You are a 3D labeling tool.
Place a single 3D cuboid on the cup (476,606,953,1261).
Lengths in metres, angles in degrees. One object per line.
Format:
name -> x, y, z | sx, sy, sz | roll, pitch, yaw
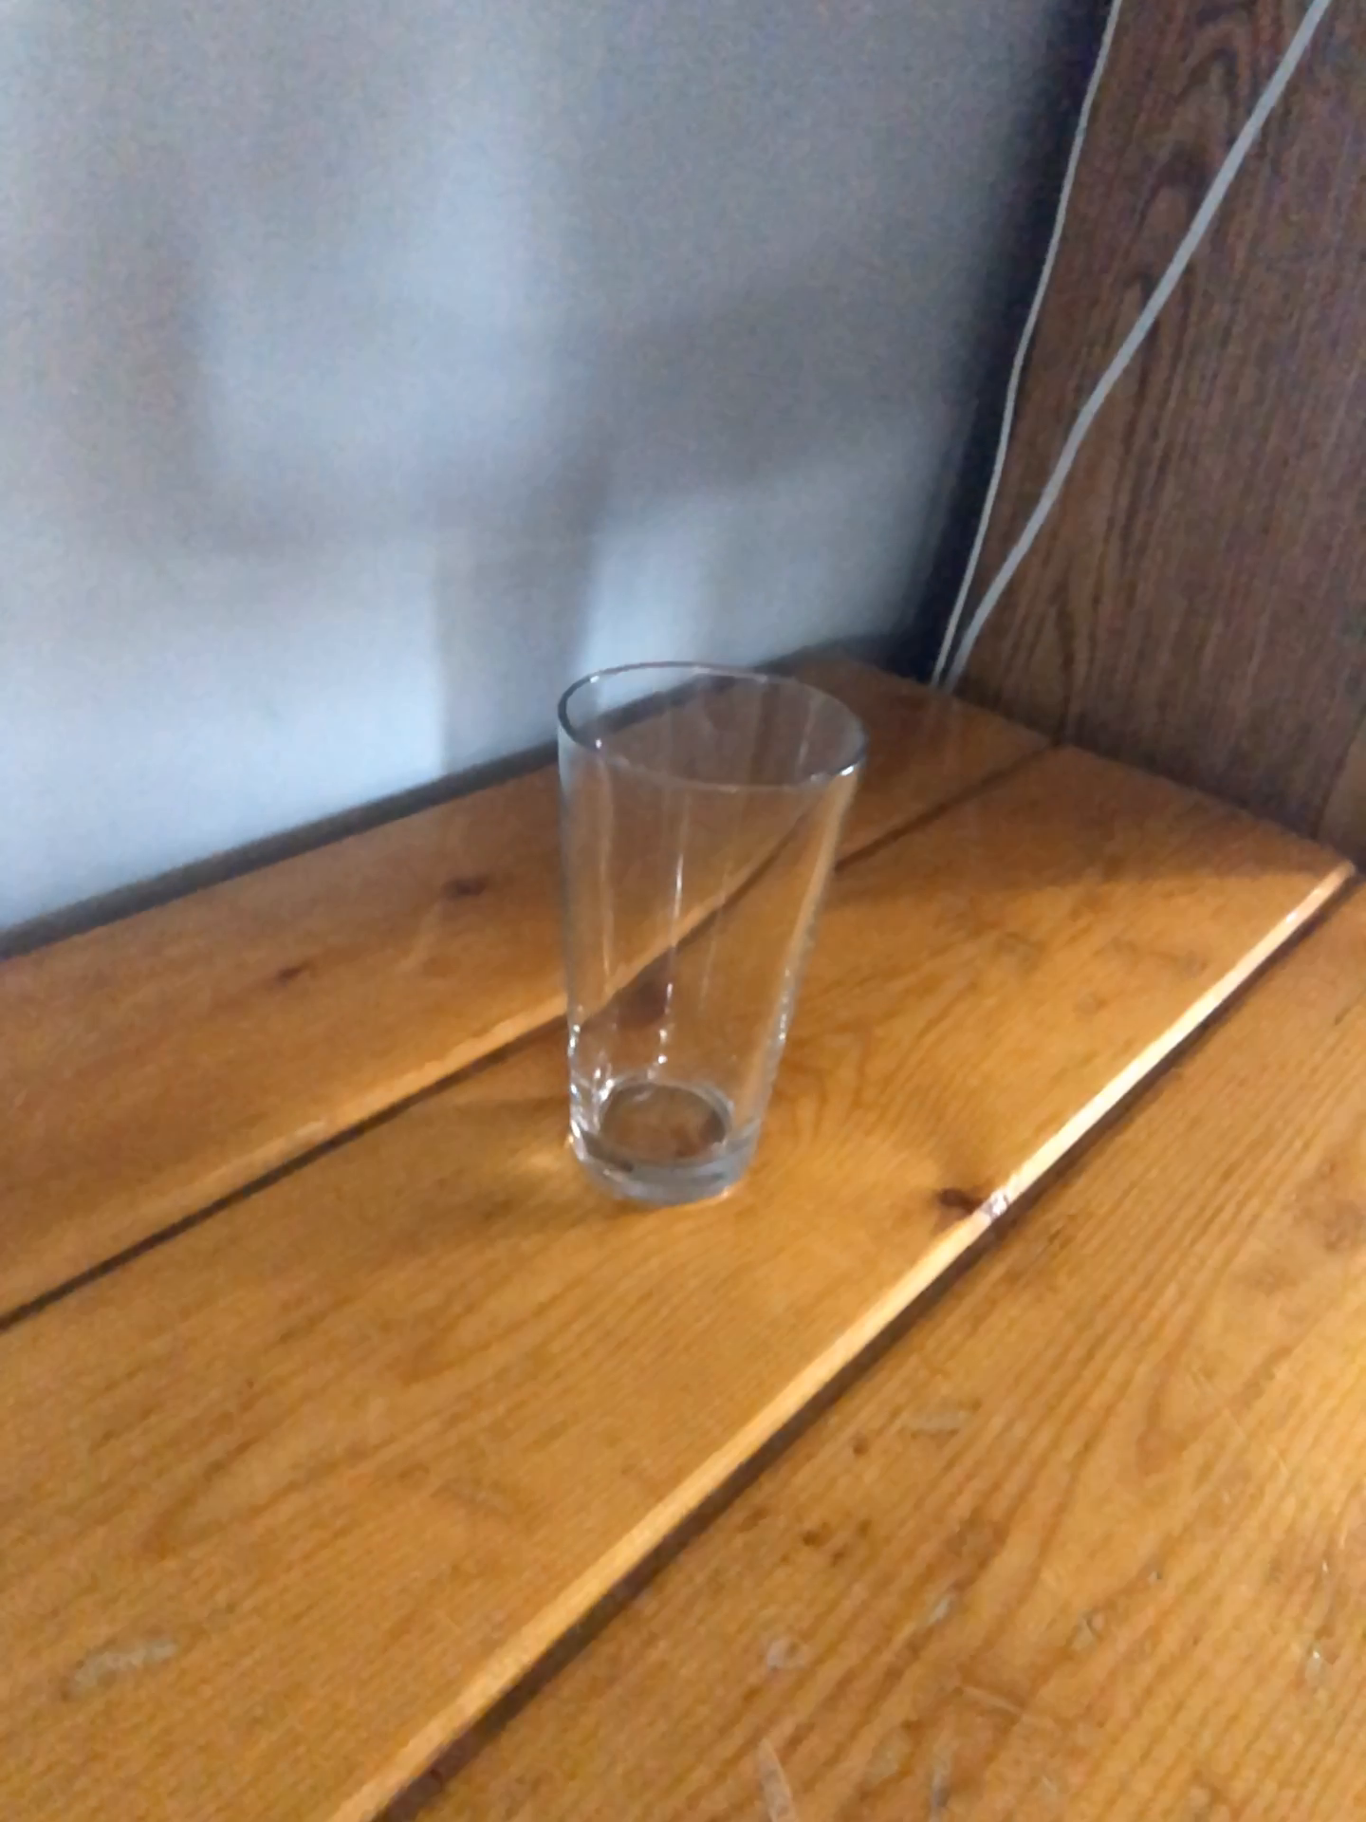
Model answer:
cup -> 0.006, 0.004, 0.451 | 0.090, 0.149, 0.090 | 7, 31, -4
